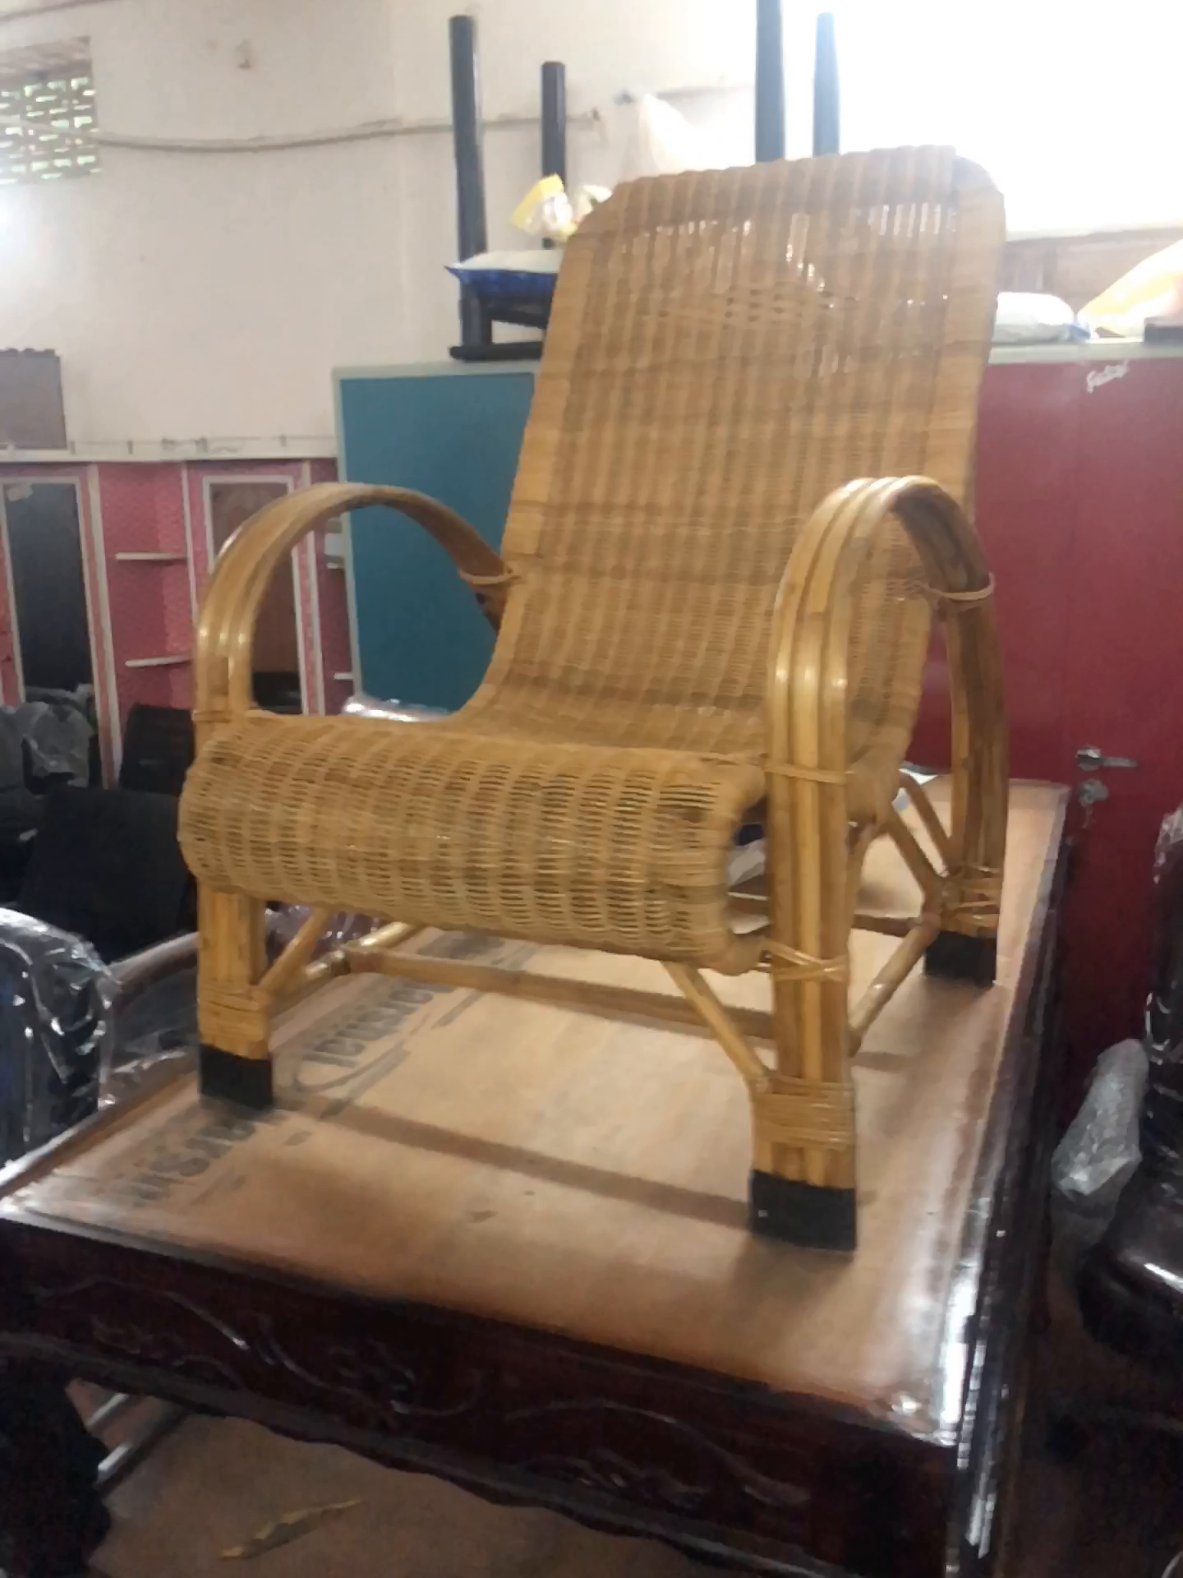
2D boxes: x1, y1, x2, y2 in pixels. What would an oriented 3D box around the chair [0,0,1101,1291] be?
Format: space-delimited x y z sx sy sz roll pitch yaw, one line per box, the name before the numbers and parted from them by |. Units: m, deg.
chair | 0.043 -0.251 1.340 0.769 0.997 0.823 5 14 25
